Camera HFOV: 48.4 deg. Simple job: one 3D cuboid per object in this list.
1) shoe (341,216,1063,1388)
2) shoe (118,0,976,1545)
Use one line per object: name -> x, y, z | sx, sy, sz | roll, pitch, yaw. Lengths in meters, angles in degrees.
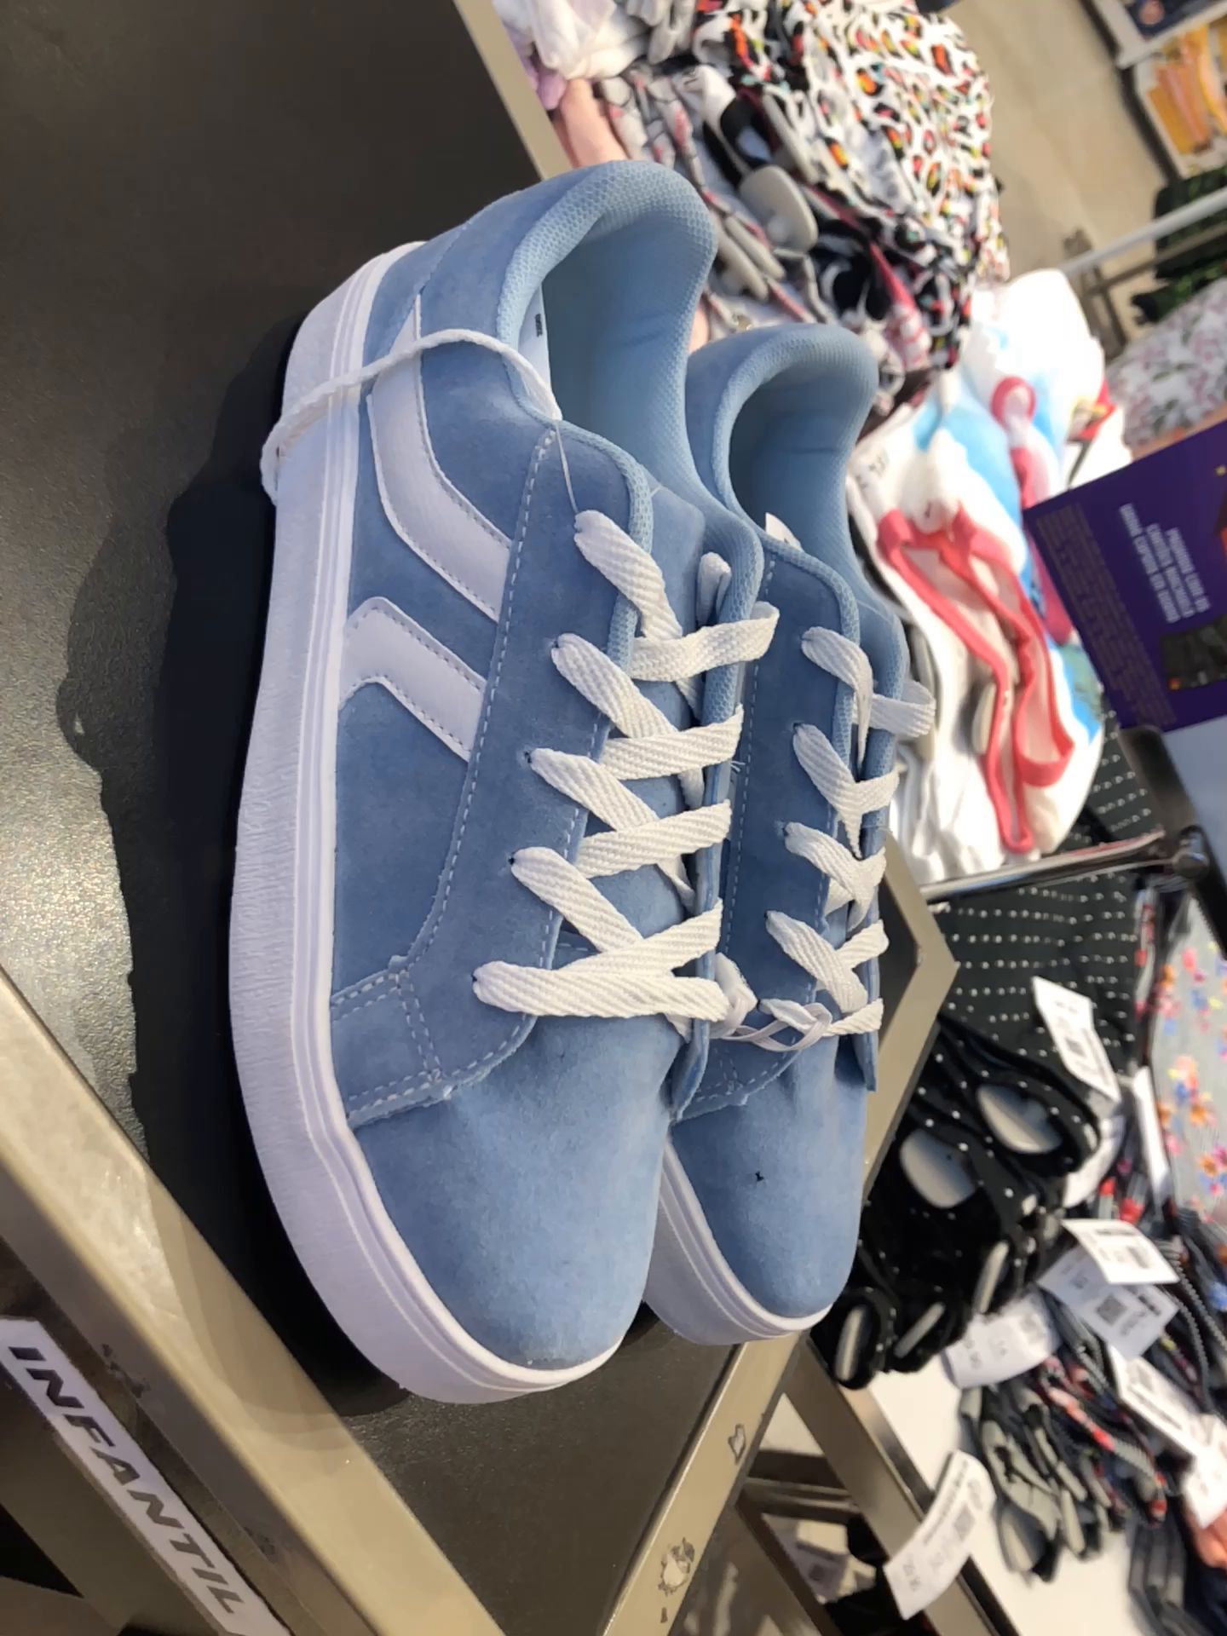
shoe -> 0.017, 0.003, 0.347 | 0.101, 0.119, 0.240 | 8, 72, -50
shoe -> -0.020, -0.005, 0.276 | 0.101, 0.119, 0.240 | 12, 69, -49
